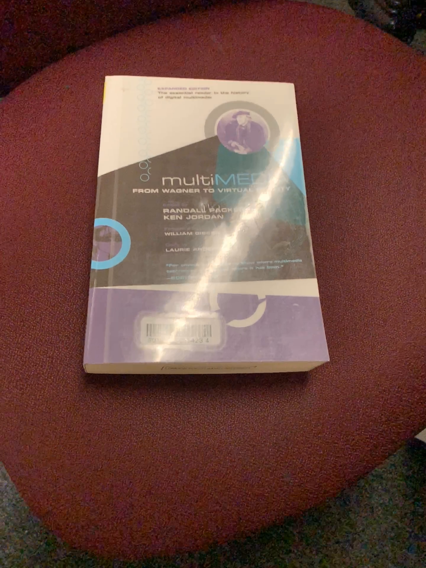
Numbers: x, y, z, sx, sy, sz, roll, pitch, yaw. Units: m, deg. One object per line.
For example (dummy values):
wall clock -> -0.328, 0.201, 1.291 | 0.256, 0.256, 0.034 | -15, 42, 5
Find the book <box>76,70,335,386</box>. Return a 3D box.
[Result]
book -> -0.009, -0.053, 0.336 | 0.160, 0.040, 0.249 | 0, 67, -5
